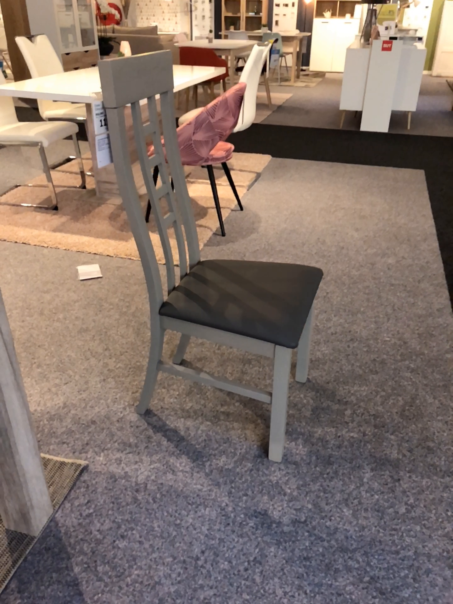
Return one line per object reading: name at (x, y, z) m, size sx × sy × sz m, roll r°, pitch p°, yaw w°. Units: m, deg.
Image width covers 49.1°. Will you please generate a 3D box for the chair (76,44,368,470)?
chair at (0.027, -0.141, 1.405) m, size 0.549 × 1.014 × 0.514 m, roll 9°, pitch 31°, yaw 14°
